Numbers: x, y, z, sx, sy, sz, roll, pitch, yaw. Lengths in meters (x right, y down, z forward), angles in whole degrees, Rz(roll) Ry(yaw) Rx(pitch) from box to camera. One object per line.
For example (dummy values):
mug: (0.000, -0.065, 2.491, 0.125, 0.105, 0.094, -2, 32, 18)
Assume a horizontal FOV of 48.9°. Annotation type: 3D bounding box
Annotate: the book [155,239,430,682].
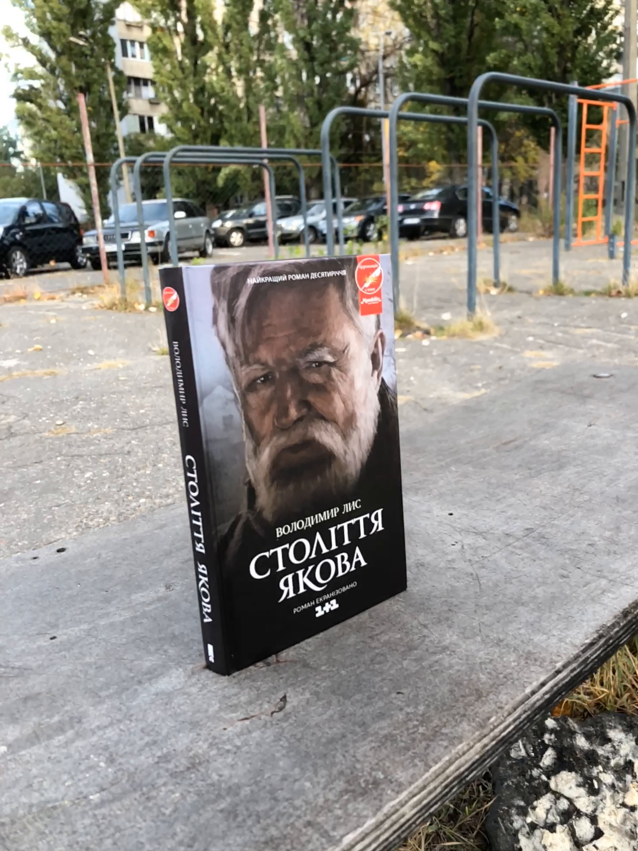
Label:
book: (-0.005, 0.011, 0.387, 0.140, 0.212, 0.030, -14, 15, -36)
